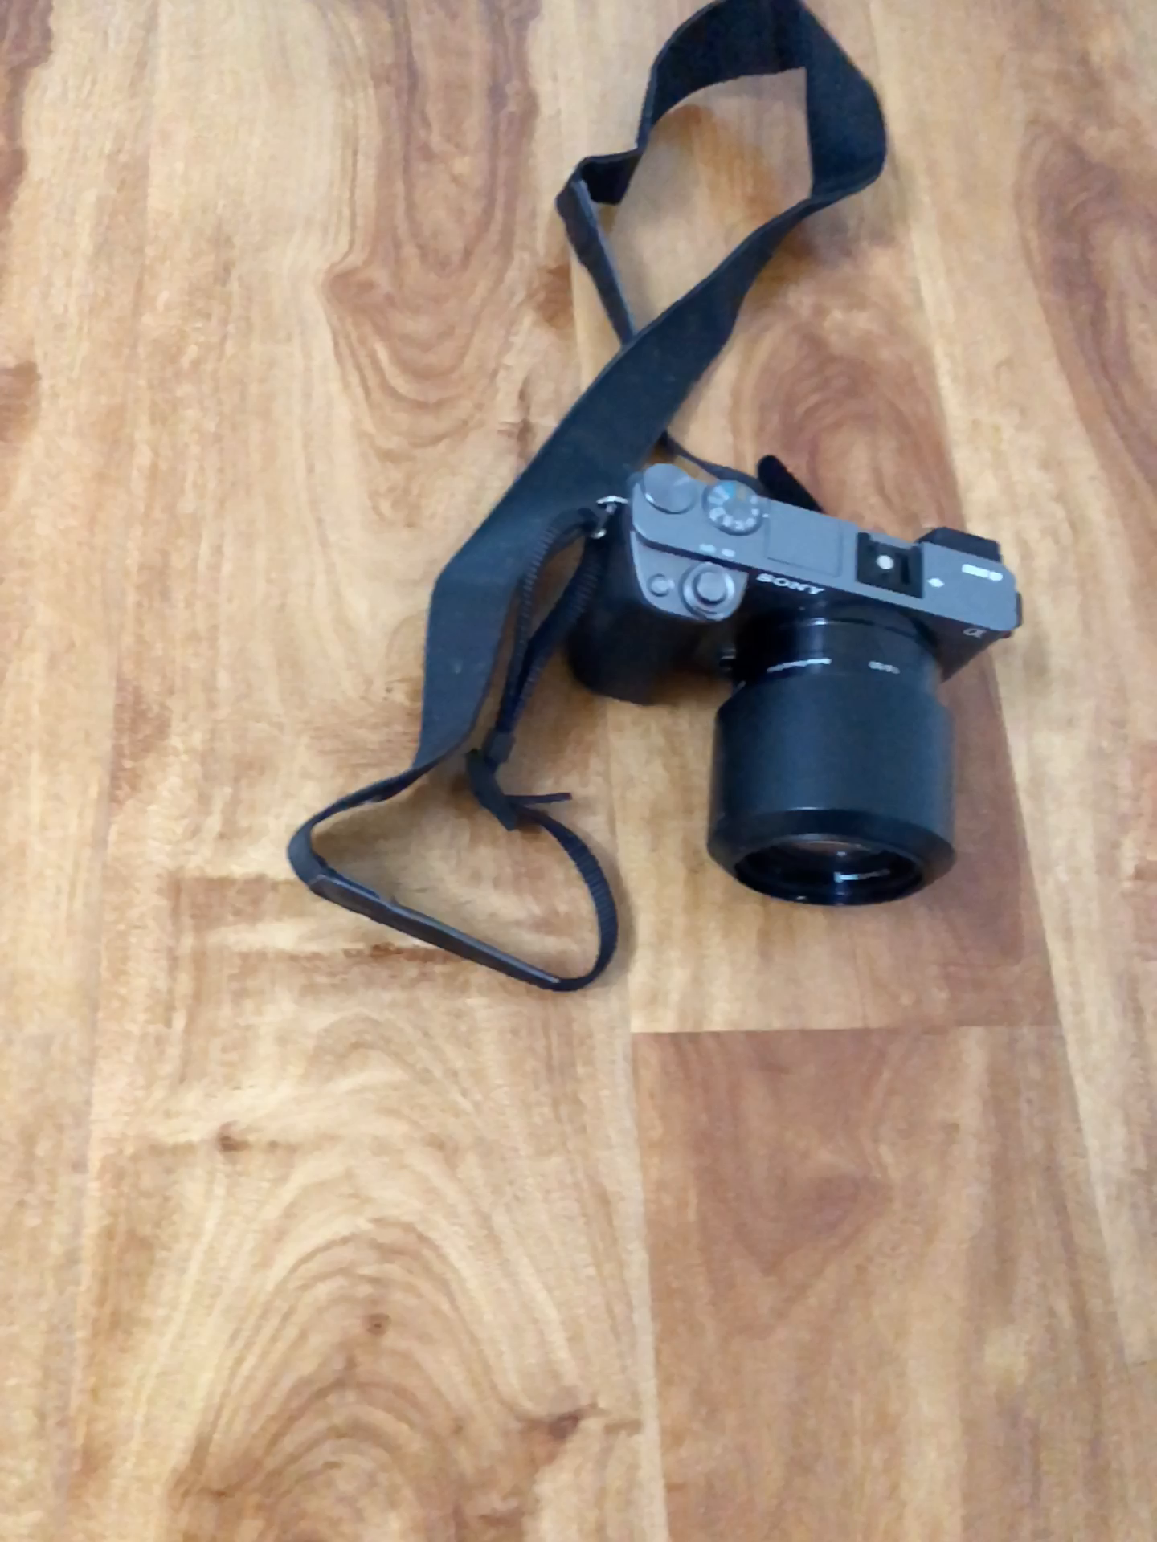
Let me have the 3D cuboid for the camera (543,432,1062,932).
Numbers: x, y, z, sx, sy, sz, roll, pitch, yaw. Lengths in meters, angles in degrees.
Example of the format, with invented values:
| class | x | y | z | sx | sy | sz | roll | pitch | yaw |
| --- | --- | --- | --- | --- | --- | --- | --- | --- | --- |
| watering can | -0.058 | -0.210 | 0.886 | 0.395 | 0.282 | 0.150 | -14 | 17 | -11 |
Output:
| class | x | y | z | sx | sy | sz | roll | pitch | yaw |
| --- | --- | --- | --- | --- | --- | --- | --- | --- | --- |
| camera | 0.066 | -0.023 | 0.391 | 0.130 | 0.070 | 0.110 | 11 | 65 | -13 |
